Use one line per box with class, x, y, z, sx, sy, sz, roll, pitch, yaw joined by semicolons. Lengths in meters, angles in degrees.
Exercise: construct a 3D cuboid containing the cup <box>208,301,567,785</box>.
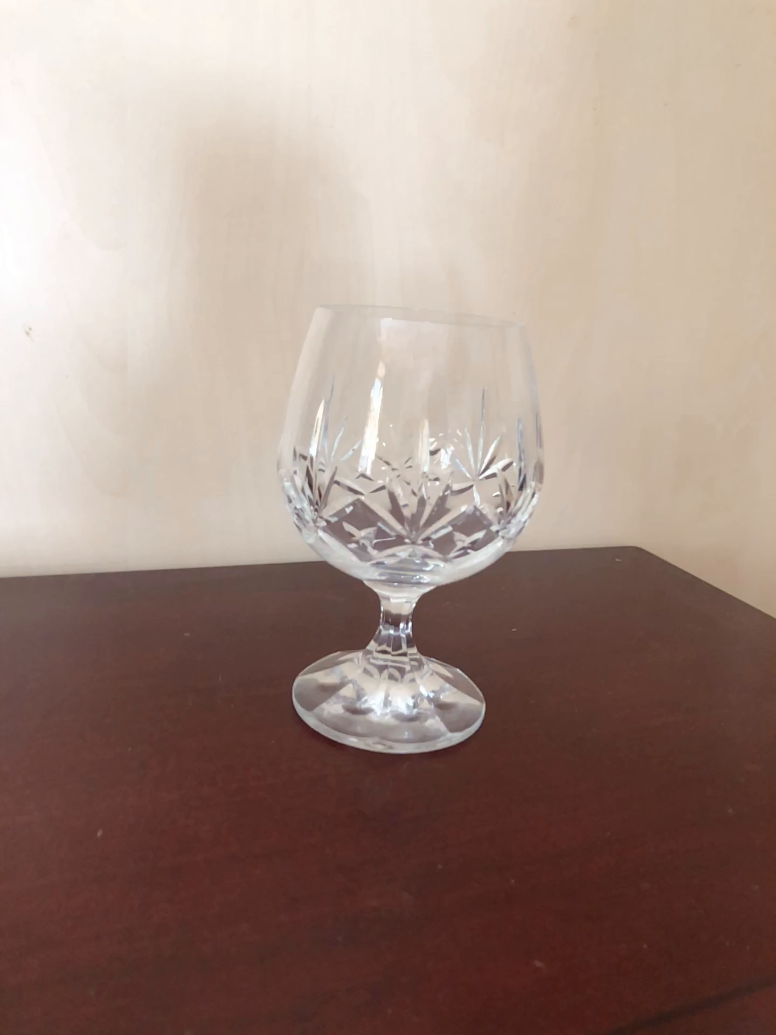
cup;0.003;-0.001;0.278;0.087;0.126;0.089;4;14;-1
